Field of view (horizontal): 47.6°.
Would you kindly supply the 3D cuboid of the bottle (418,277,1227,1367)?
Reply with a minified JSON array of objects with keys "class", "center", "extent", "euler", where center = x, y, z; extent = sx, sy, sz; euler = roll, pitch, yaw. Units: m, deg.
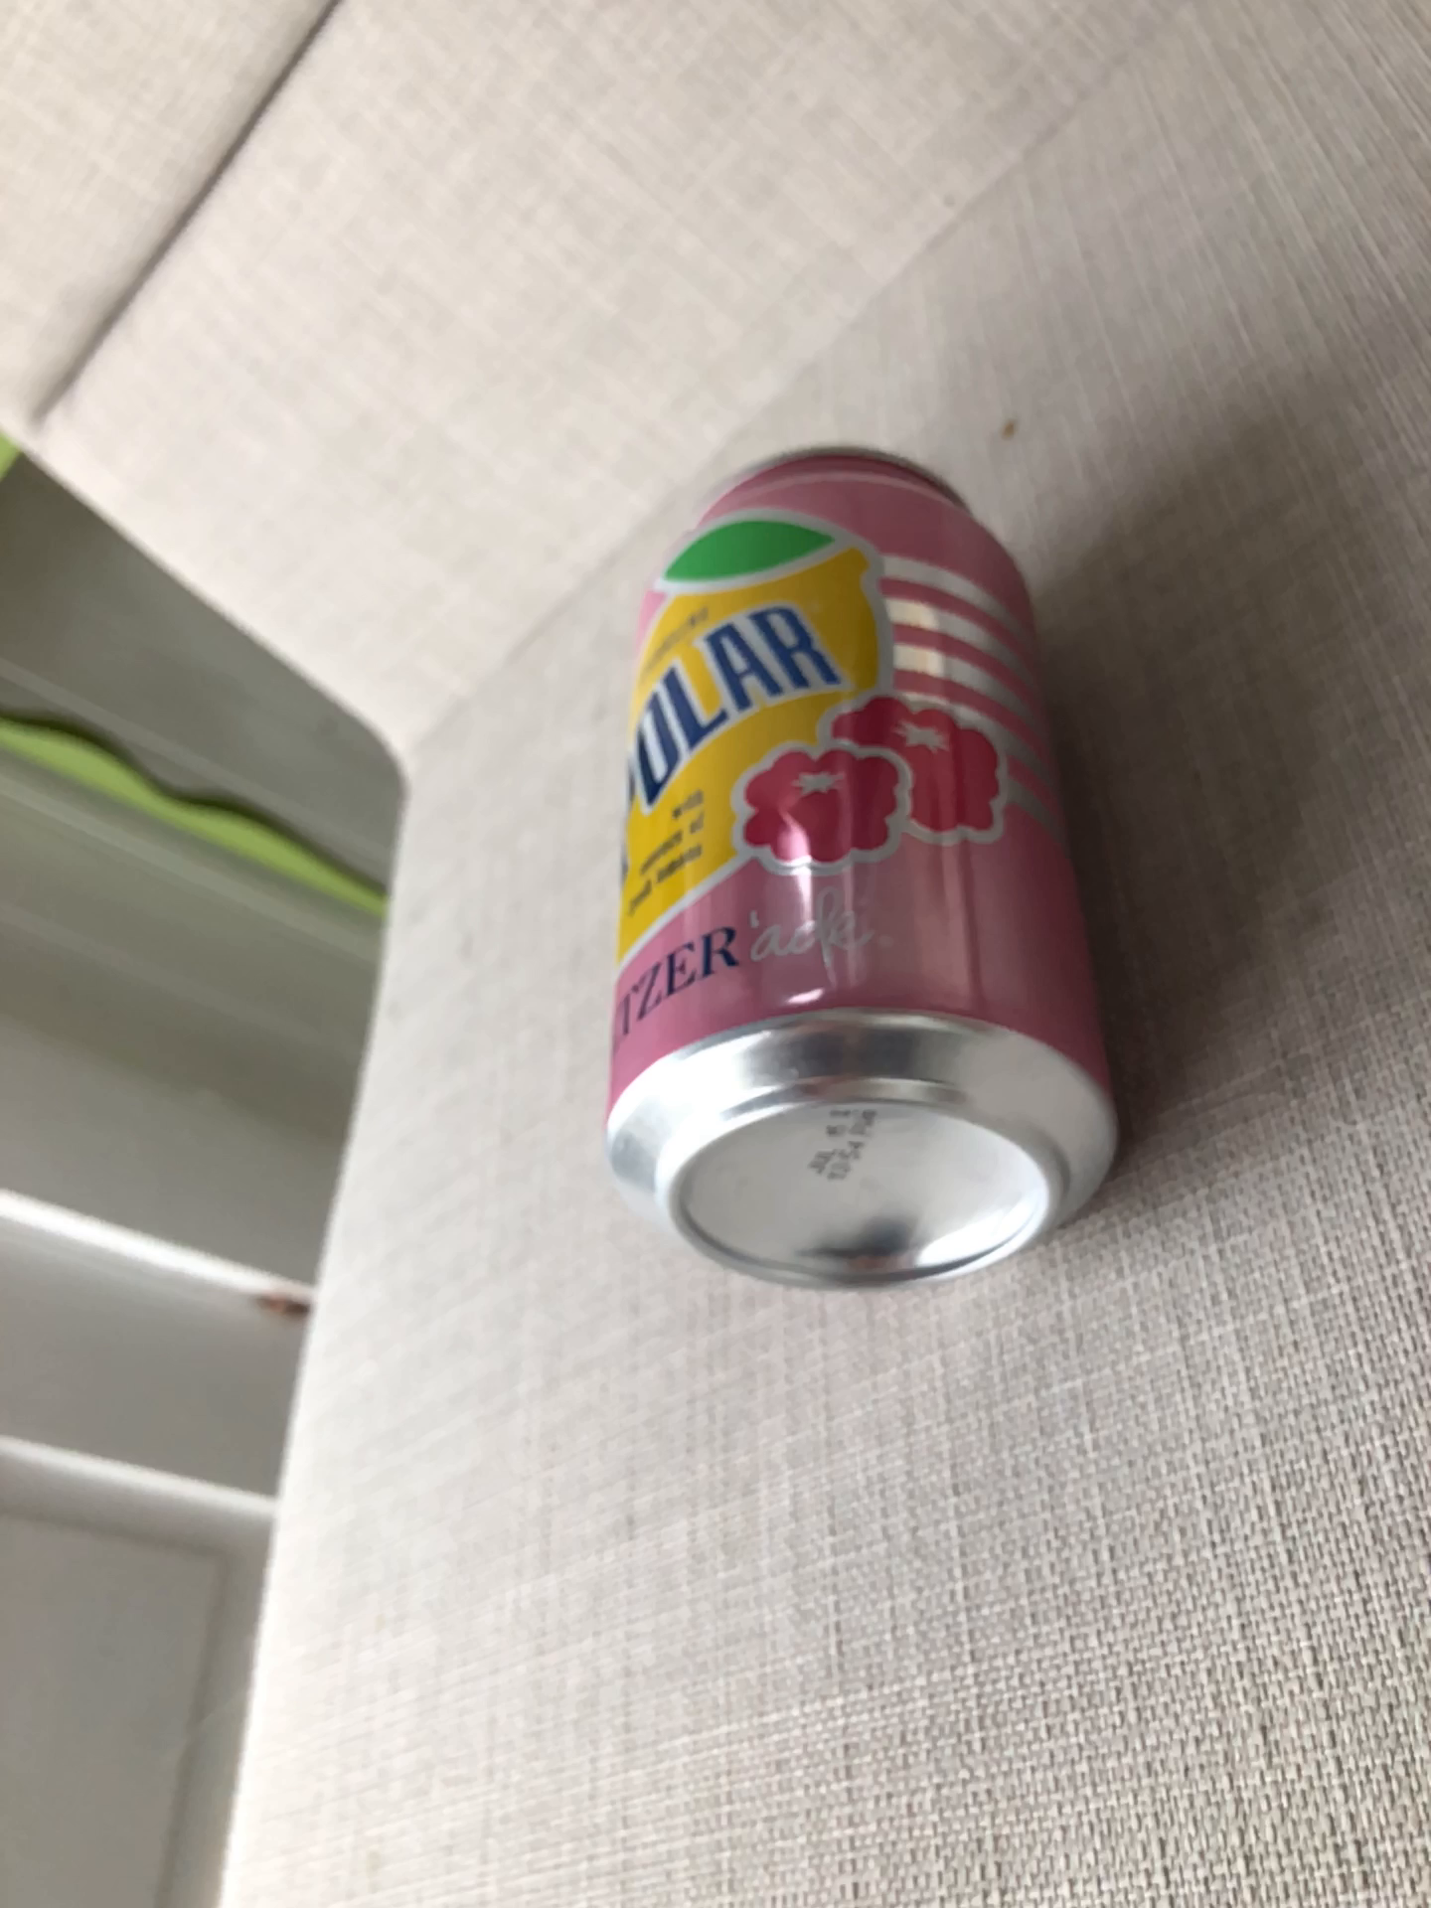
[{"class":"bottle","center":[0.011,-0.019,0.231],"extent":[0.070,0.065,0.123],"euler":[-34,41,35]}]
